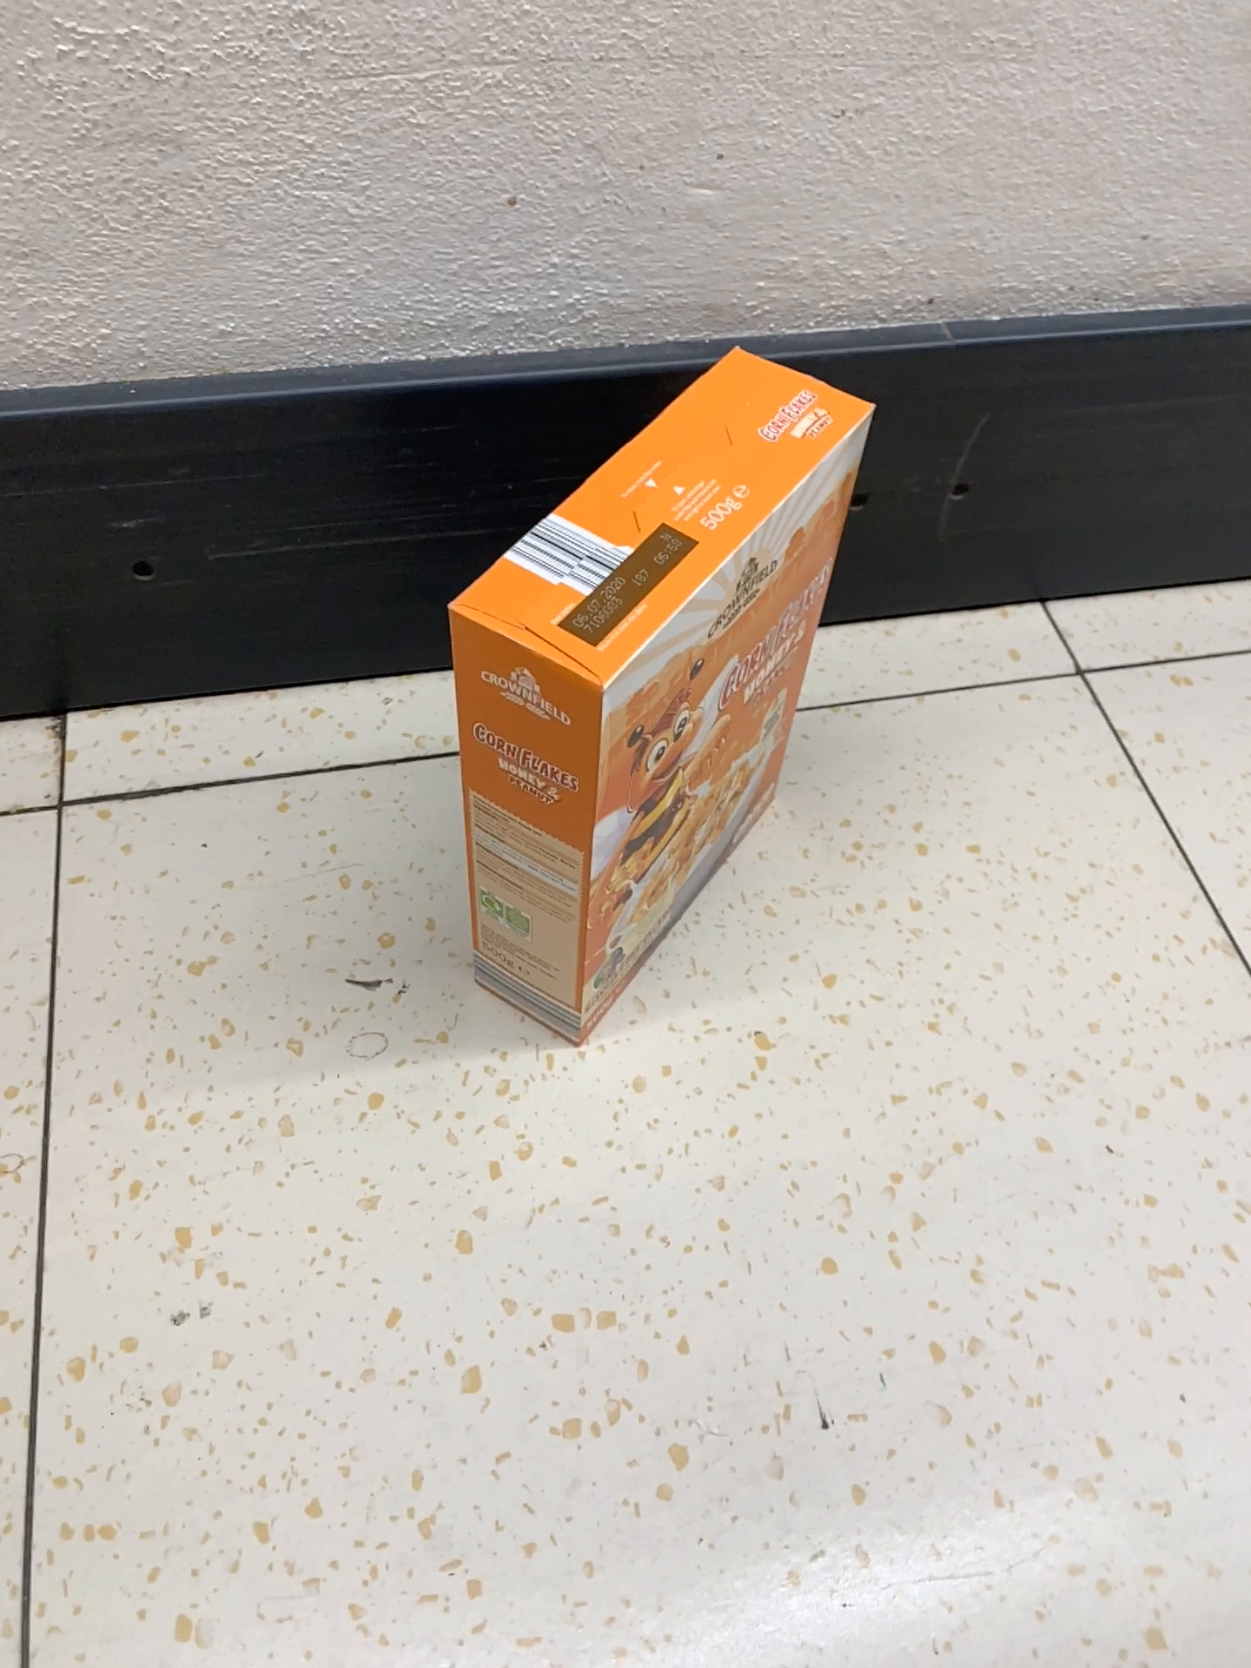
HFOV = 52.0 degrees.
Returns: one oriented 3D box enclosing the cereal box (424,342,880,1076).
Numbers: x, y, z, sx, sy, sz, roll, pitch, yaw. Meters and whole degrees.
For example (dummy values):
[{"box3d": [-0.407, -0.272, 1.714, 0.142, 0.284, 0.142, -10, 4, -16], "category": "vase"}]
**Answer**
[{"box3d": [0.010, -0.044, 0.580, 0.070, 0.268, 0.201, 30, 57, 17], "category": "cereal box"}]
